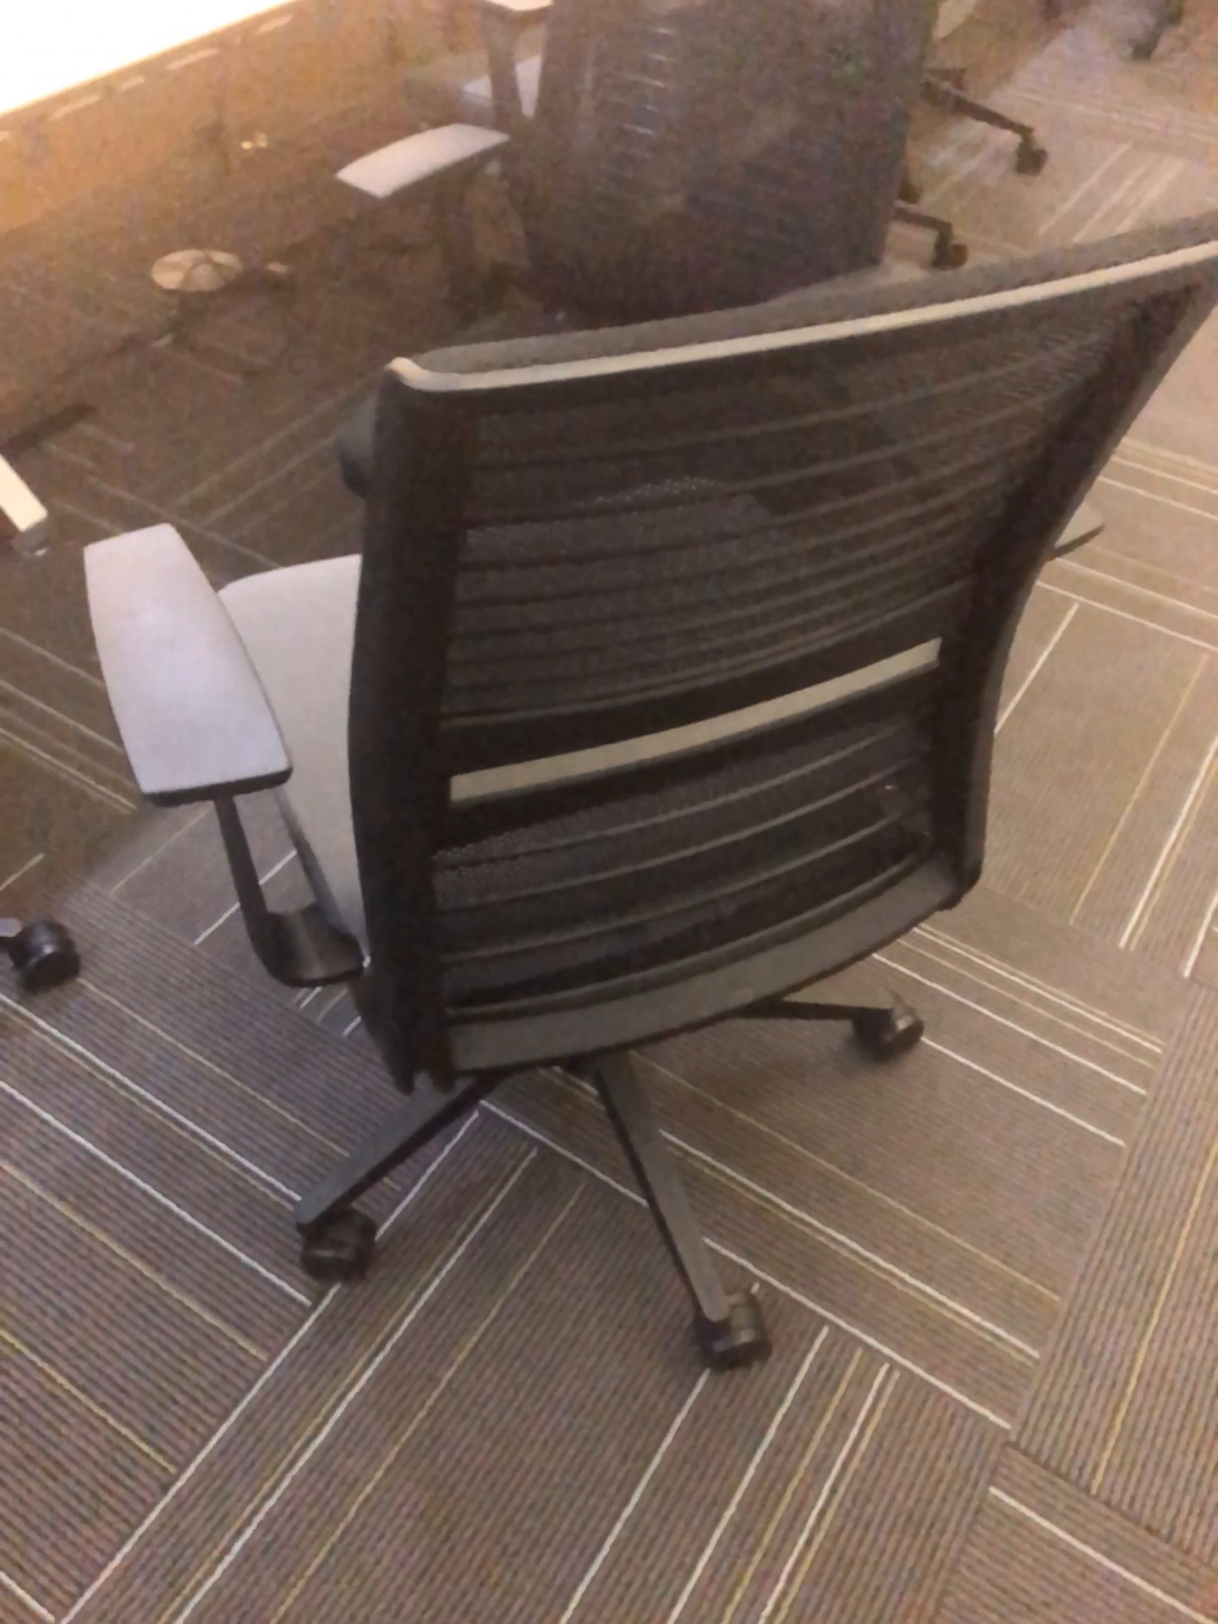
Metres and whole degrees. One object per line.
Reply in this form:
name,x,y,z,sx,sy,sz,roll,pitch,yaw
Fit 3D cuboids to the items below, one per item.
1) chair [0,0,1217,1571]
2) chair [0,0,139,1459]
chair,-0.002,-0.071,1.053,0.722,0.962,0.714,-18,49,-18
chair,-0.993,-0.171,1.105,0.734,0.962,0.722,-28,53,-26
